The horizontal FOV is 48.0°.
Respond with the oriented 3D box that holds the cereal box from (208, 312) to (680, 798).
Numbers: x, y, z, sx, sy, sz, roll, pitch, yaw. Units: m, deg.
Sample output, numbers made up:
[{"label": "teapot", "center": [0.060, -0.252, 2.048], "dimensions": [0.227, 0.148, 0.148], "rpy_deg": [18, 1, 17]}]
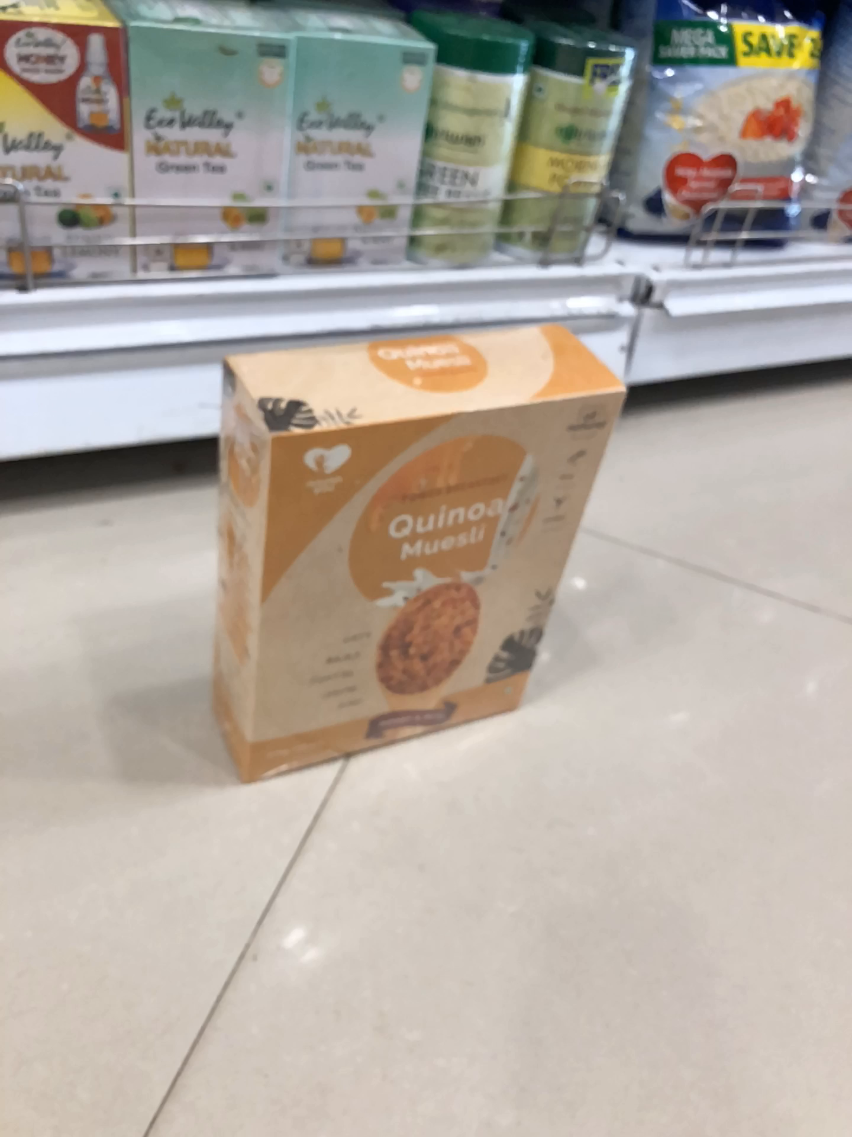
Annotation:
[{"label": "cereal box", "center": [-0.004, -0.004, 0.425], "dimensions": [0.171, 0.199, 0.060], "rpy_deg": [-11, 45, -24]}]
